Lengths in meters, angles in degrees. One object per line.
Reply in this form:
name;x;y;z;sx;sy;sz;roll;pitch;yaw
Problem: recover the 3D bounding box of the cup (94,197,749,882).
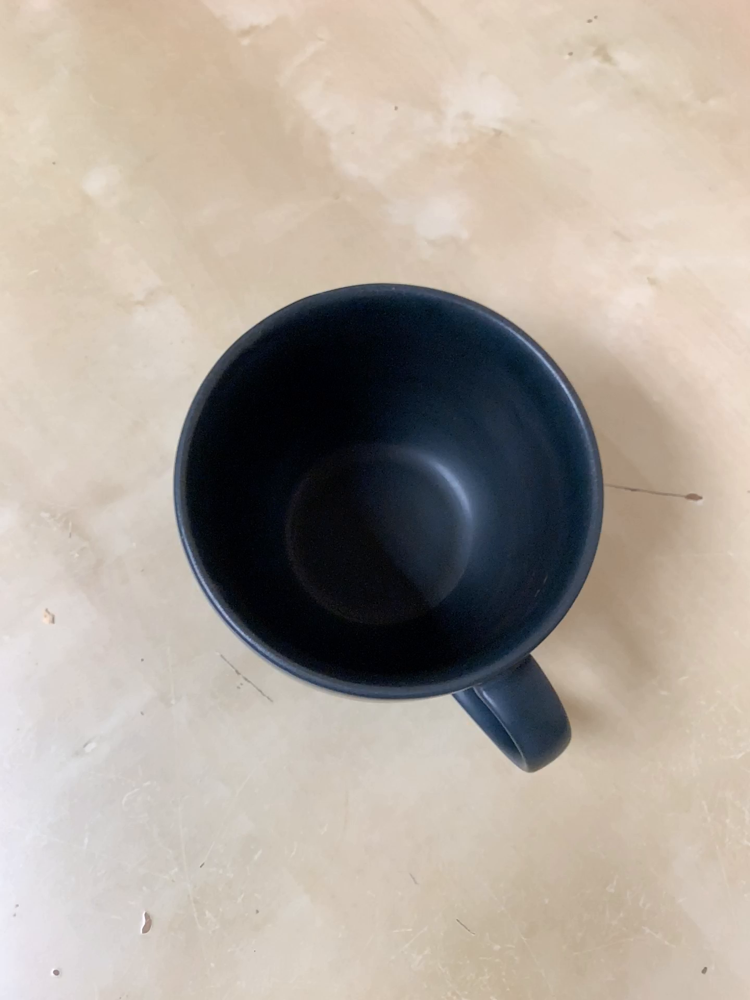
cup;0.017;0.009;0.264;0.135;0.068;0.158;-37;80;-12
